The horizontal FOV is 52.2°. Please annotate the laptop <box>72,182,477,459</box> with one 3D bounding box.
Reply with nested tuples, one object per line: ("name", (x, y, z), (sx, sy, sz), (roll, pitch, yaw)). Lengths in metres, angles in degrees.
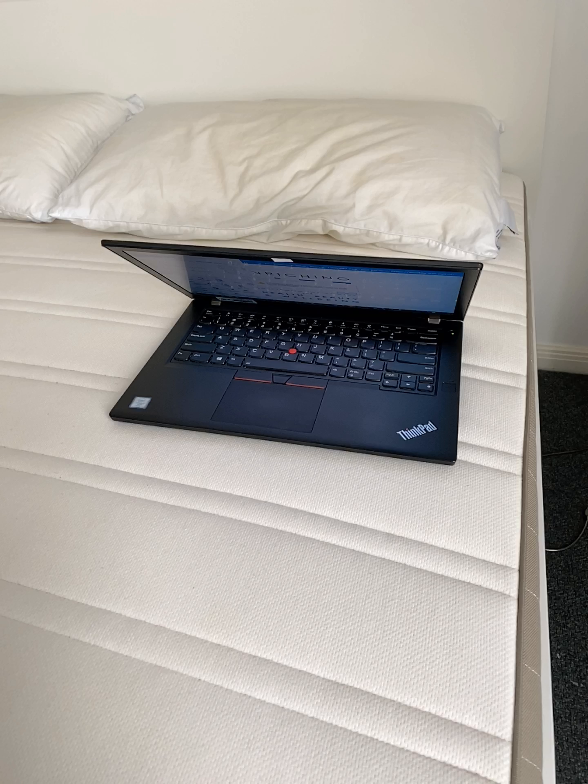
("laptop", (0.004, -0.087, 0.593), (0.324, 0.150, 0.221), (6, 40, 13))
